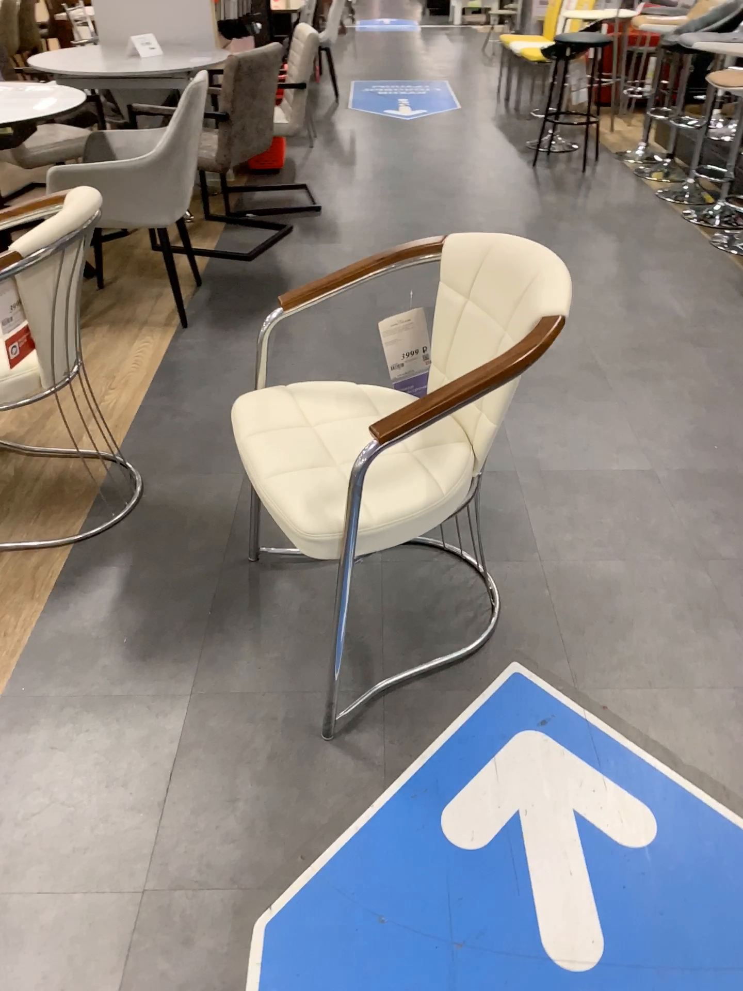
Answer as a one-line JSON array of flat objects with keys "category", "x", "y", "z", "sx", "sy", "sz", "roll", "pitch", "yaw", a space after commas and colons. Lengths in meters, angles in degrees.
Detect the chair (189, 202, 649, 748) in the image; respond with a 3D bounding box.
[{"category": "chair", "x": 0.045, "y": -0.071, "z": 1.563, "sx": 0.601, "sy": 0.815, "sz": 0.603, "roll": -14, "pitch": 38, "yaw": -18}]
